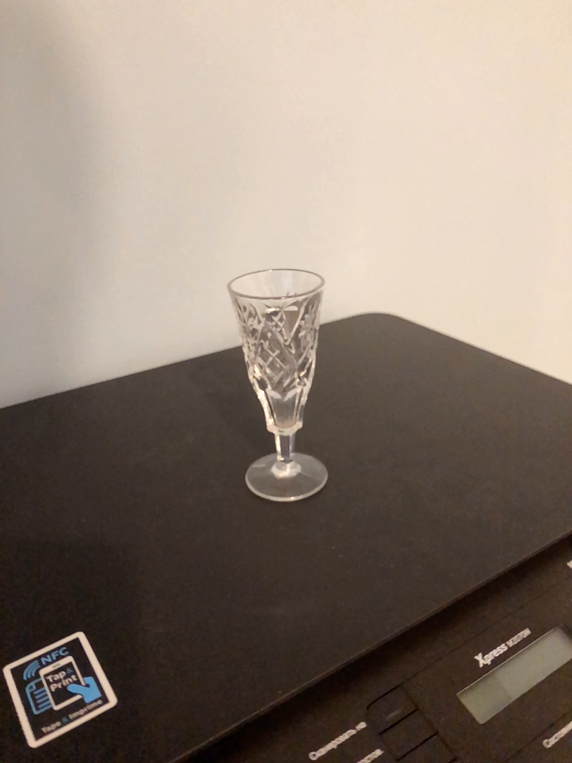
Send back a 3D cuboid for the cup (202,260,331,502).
[{"bbox_3d":[-0.006,0.000,0.325,0.057,0.109,0.054,-1,25,1],"label":"cup"}]
